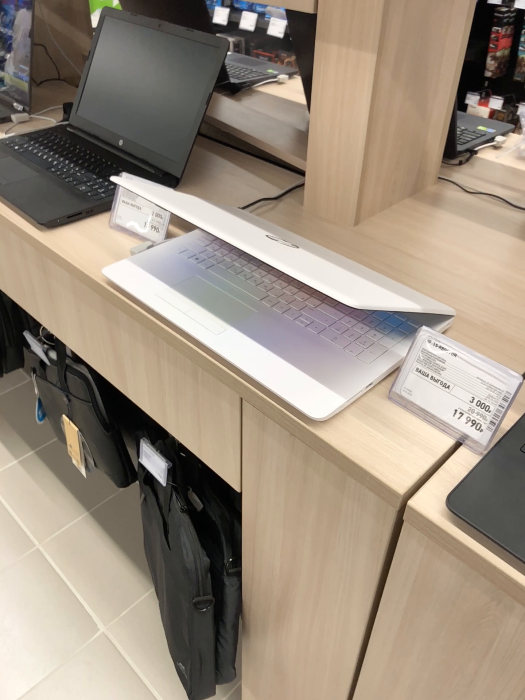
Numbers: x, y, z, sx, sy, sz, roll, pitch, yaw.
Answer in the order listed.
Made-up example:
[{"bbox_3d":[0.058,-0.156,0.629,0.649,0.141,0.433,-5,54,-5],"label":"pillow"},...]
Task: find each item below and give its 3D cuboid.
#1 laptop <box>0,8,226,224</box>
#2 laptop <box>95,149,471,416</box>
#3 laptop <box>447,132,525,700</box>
[{"bbox_3d":[-0.323,-0.439,1.014,0.369,0.203,0.387,-30,48,-34],"label":"laptop"},{"bbox_3d":[0.009,-0.112,0.691,0.232,0.103,0.369,-32,48,-33],"label":"laptop"},{"bbox_3d":[0.416,0.050,0.402,0.392,0.219,0.350,33,47,32],"label":"laptop"}]
